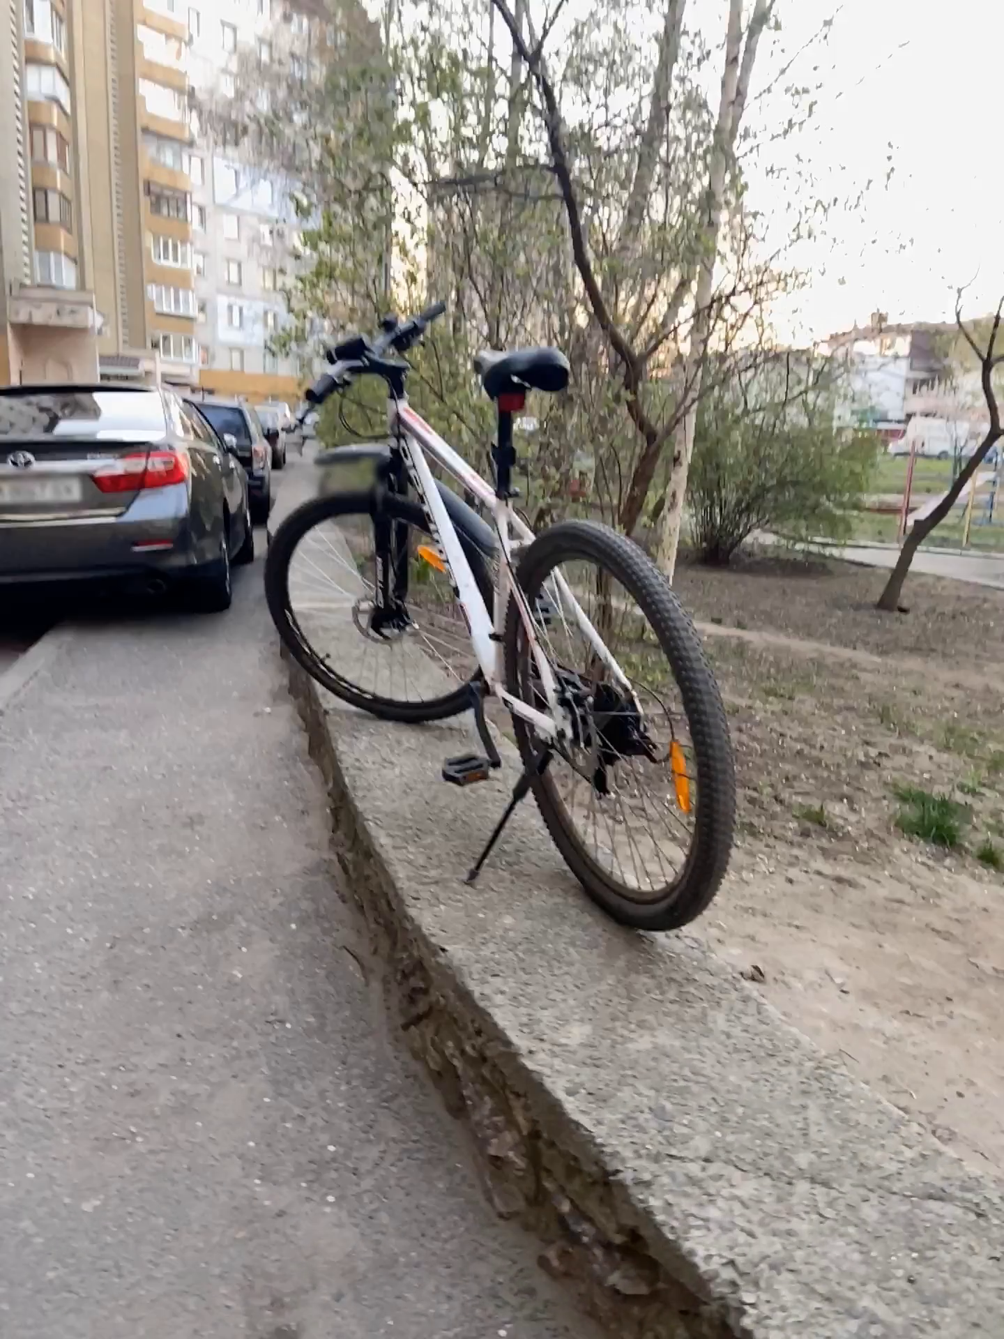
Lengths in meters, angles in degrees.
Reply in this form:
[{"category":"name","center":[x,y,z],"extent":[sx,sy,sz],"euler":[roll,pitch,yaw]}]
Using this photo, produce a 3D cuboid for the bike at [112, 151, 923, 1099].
[{"category":"bike","center":[-0.218,-0.166,2.094],"extent":[0.679,1.147,1.752],"euler":[-6,13,-32]}]
